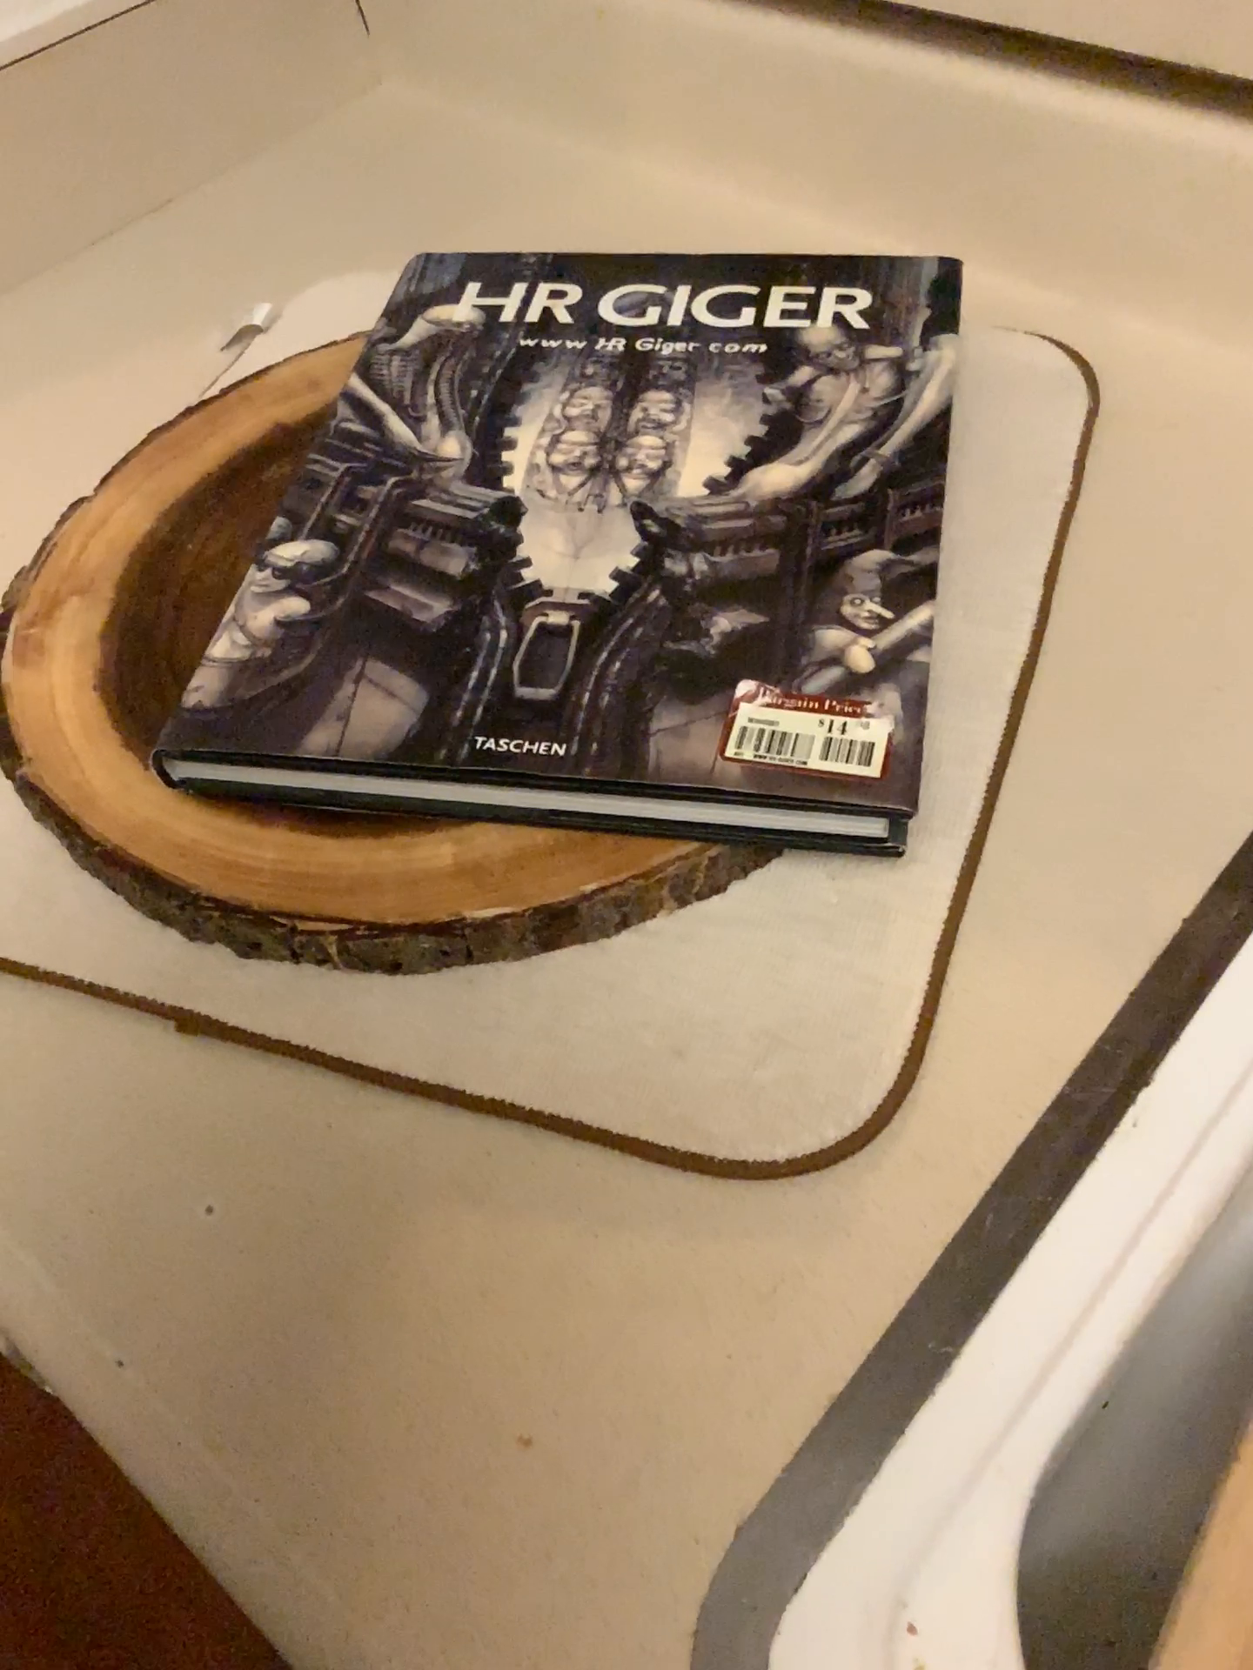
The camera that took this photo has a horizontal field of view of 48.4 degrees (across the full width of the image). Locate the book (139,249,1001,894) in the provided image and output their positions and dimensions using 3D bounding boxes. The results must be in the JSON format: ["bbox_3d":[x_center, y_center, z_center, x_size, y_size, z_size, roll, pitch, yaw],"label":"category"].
[{"bbox_3d":[0.003,-0.129,0.544,0.270,0.030,0.330,5,52,11],"label":"book"}]
